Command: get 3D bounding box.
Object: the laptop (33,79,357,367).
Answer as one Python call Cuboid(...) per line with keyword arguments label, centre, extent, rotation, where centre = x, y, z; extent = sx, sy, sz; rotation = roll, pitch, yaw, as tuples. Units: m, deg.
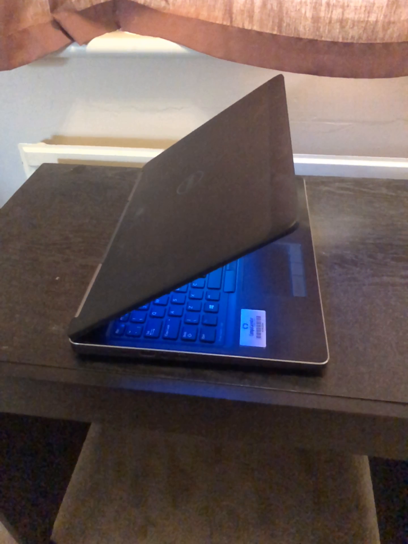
Cuboid(label="laptop", centre=(0.008, -0.093, 0.515), extent=(0.243, 0.134, 0.365), rotation=(3, 39, 6))
